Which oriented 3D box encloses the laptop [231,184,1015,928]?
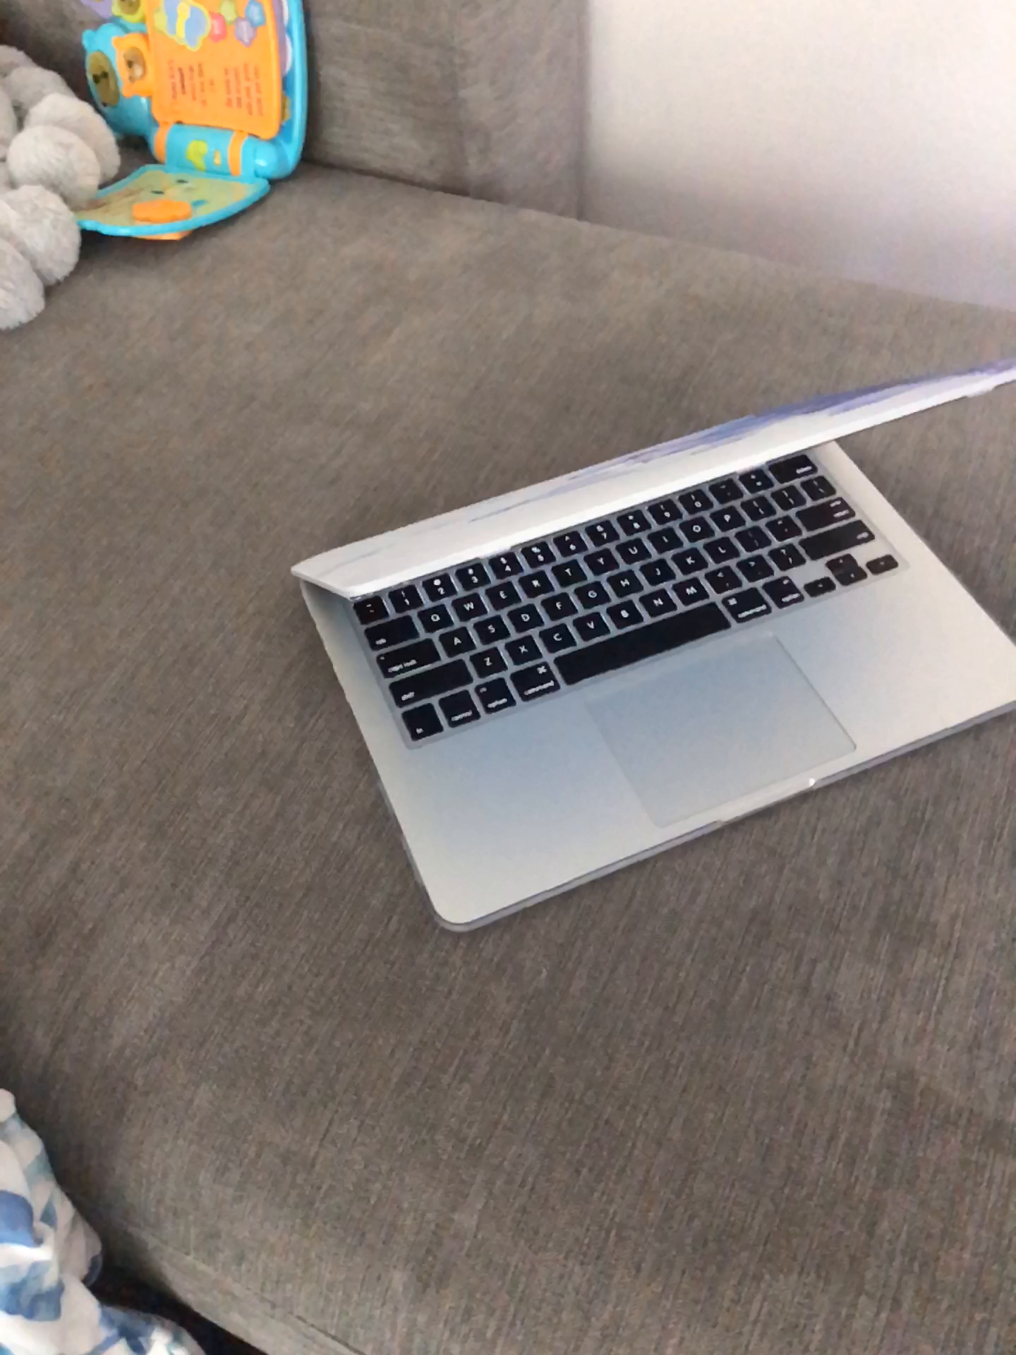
[{"bbox_3d":[0.069,-0.069,0.508,0.308,0.137,0.218,-19,56,-14],"label":"laptop"}]
